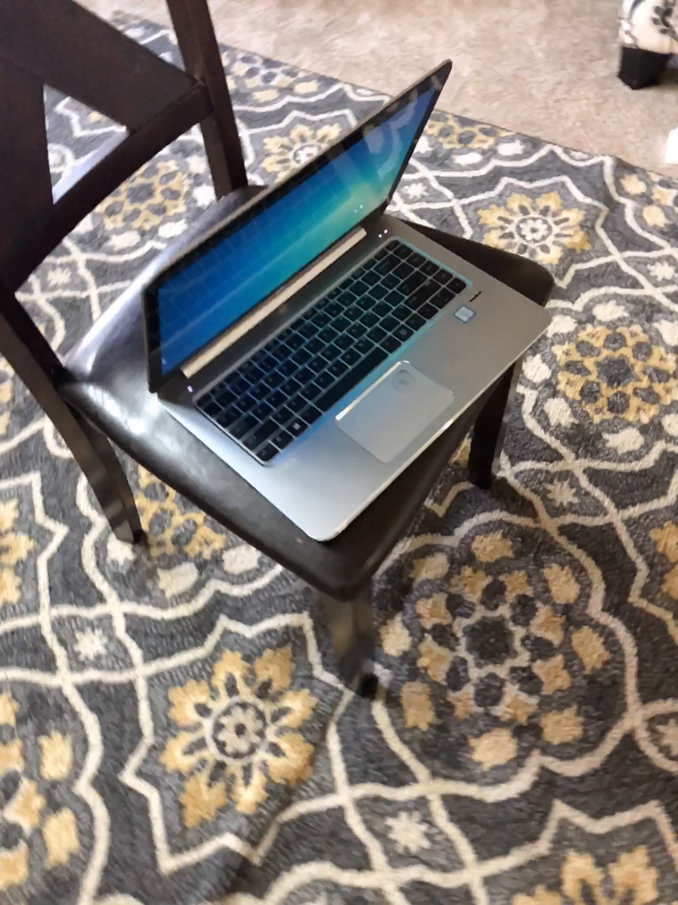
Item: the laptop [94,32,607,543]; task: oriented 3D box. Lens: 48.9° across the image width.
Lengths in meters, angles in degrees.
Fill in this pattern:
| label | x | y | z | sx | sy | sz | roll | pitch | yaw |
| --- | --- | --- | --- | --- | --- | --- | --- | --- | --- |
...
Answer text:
| label | x | y | z | sx | sy | sz | roll | pitch | yaw |
| --- | --- | --- | --- | --- | --- | --- | --- | --- | --- |
| laptop | 0.018 | -0.143 | 0.621 | 0.212 | 0.194 | 0.323 | 39 | 67 | 23 |
